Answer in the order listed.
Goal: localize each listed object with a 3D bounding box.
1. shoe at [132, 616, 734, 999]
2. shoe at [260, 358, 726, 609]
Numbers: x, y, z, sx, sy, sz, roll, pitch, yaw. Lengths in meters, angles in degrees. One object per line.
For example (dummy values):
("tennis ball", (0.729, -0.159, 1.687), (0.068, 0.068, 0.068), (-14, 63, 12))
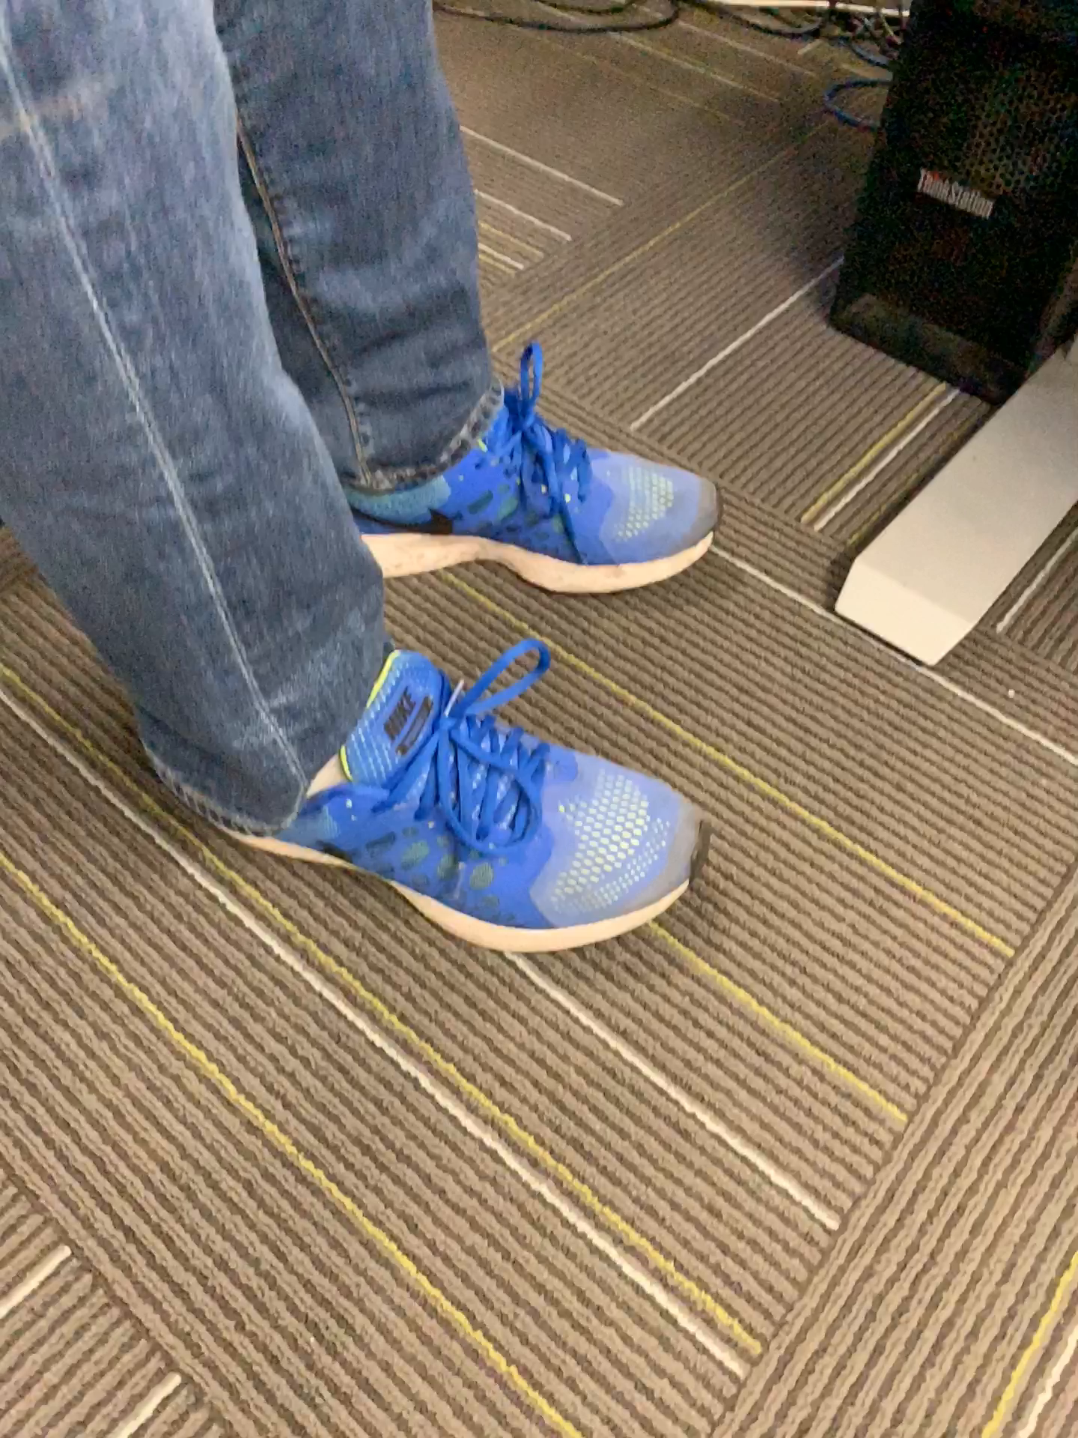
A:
("shoe", (-0.050, 0.044, 0.587), (0.278, 0.083, 0.118), (13, 54, 7))
("shoe", (-0.024, -0.155, 0.724), (0.278, 0.083, 0.117), (5, 53, 2))
